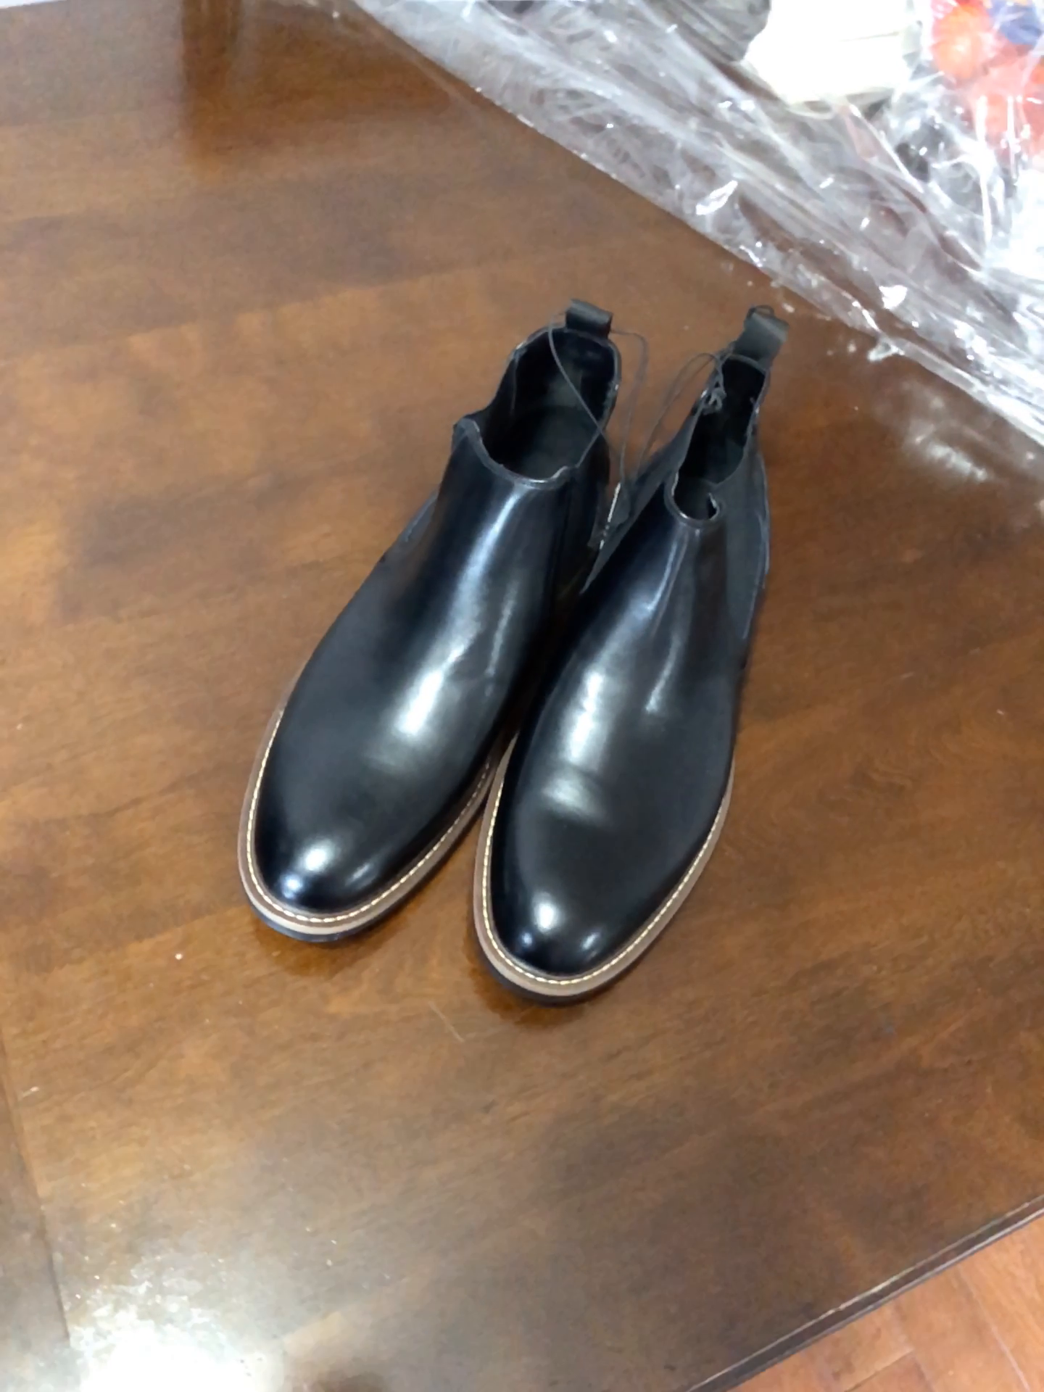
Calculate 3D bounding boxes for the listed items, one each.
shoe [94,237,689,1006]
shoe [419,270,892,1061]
[{"bbox_3d":[-0.045,-0.039,0.545,0.120,0.170,0.300,23,59,6],"label":"shoe"},{"bbox_3d":[0.062,-0.017,0.532,0.120,0.170,0.301,17,59,3],"label":"shoe"}]
